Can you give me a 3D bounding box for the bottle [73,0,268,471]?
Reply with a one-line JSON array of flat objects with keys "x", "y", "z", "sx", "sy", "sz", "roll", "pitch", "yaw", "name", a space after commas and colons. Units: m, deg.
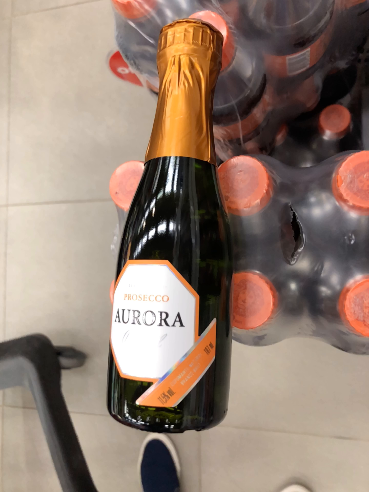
[{"x": -0.002, "y": -0.011, "z": 0.180, "sx": 0.060, "sy": 0.050, "sz": 0.180, "roll": 4, "pitch": 88, "yaw": 15, "name": "bottle"}]
